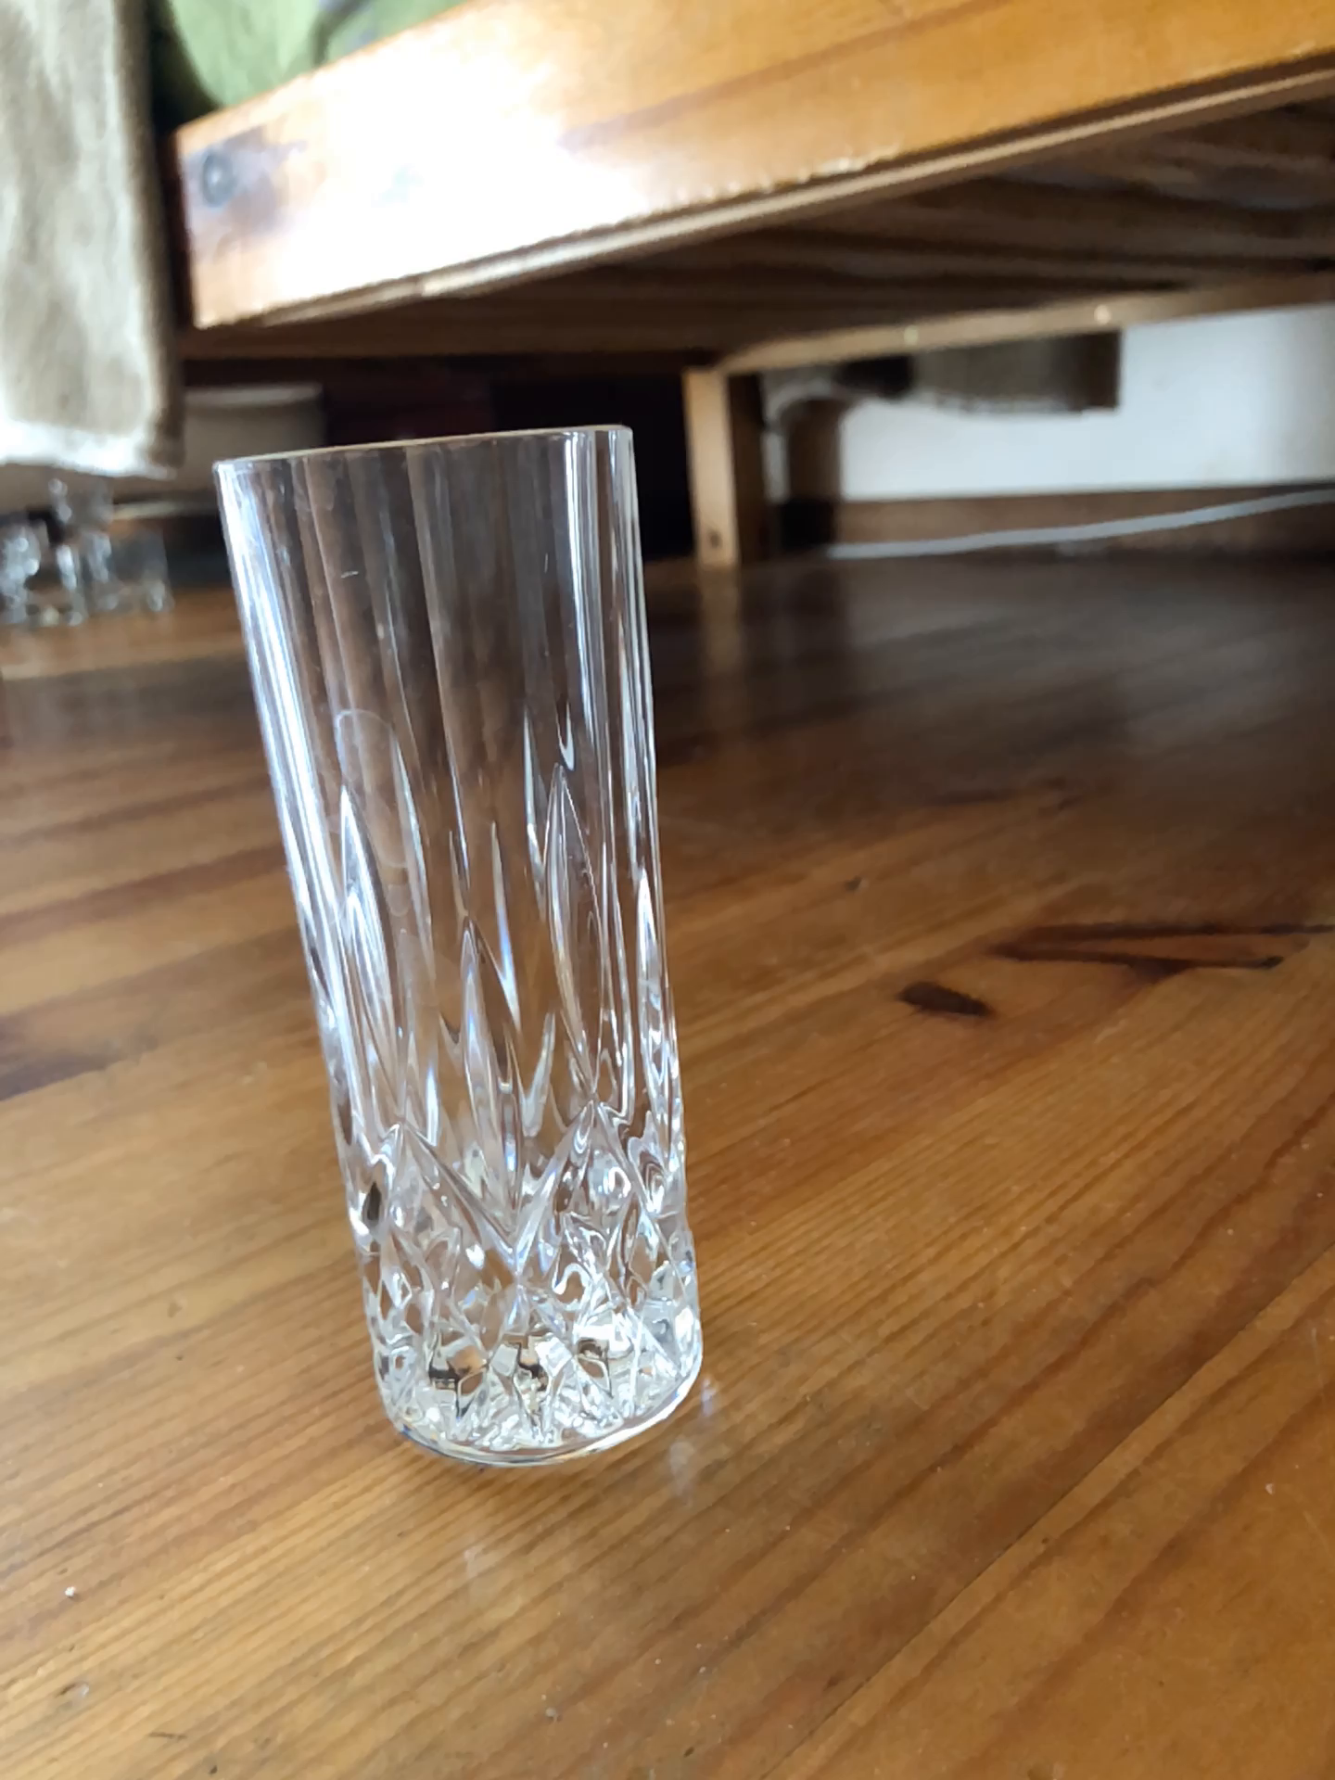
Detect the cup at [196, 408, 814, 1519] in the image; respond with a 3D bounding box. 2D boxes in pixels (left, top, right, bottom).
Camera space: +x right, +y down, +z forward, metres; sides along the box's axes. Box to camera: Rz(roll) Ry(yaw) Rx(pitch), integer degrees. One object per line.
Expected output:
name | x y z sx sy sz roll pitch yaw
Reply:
cup | -0.021 0.007 0.223 0.064 0.145 0.059 -5 16 1
